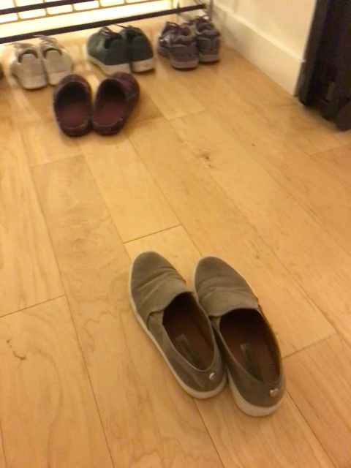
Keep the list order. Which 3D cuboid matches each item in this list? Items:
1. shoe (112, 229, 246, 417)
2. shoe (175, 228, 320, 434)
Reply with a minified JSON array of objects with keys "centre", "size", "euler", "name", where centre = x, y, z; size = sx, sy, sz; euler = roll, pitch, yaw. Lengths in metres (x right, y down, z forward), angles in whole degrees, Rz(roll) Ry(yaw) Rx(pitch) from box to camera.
[{"centre":[-0.007,0.120,0.593],"size":[0.100,0.070,0.271],"euler":[-17,49,-15],"name":"shoe"},{"centre":[0.090,0.130,0.593],"size":[0.110,0.079,0.292],"euler":[-11,47,-10],"name":"shoe"}]
